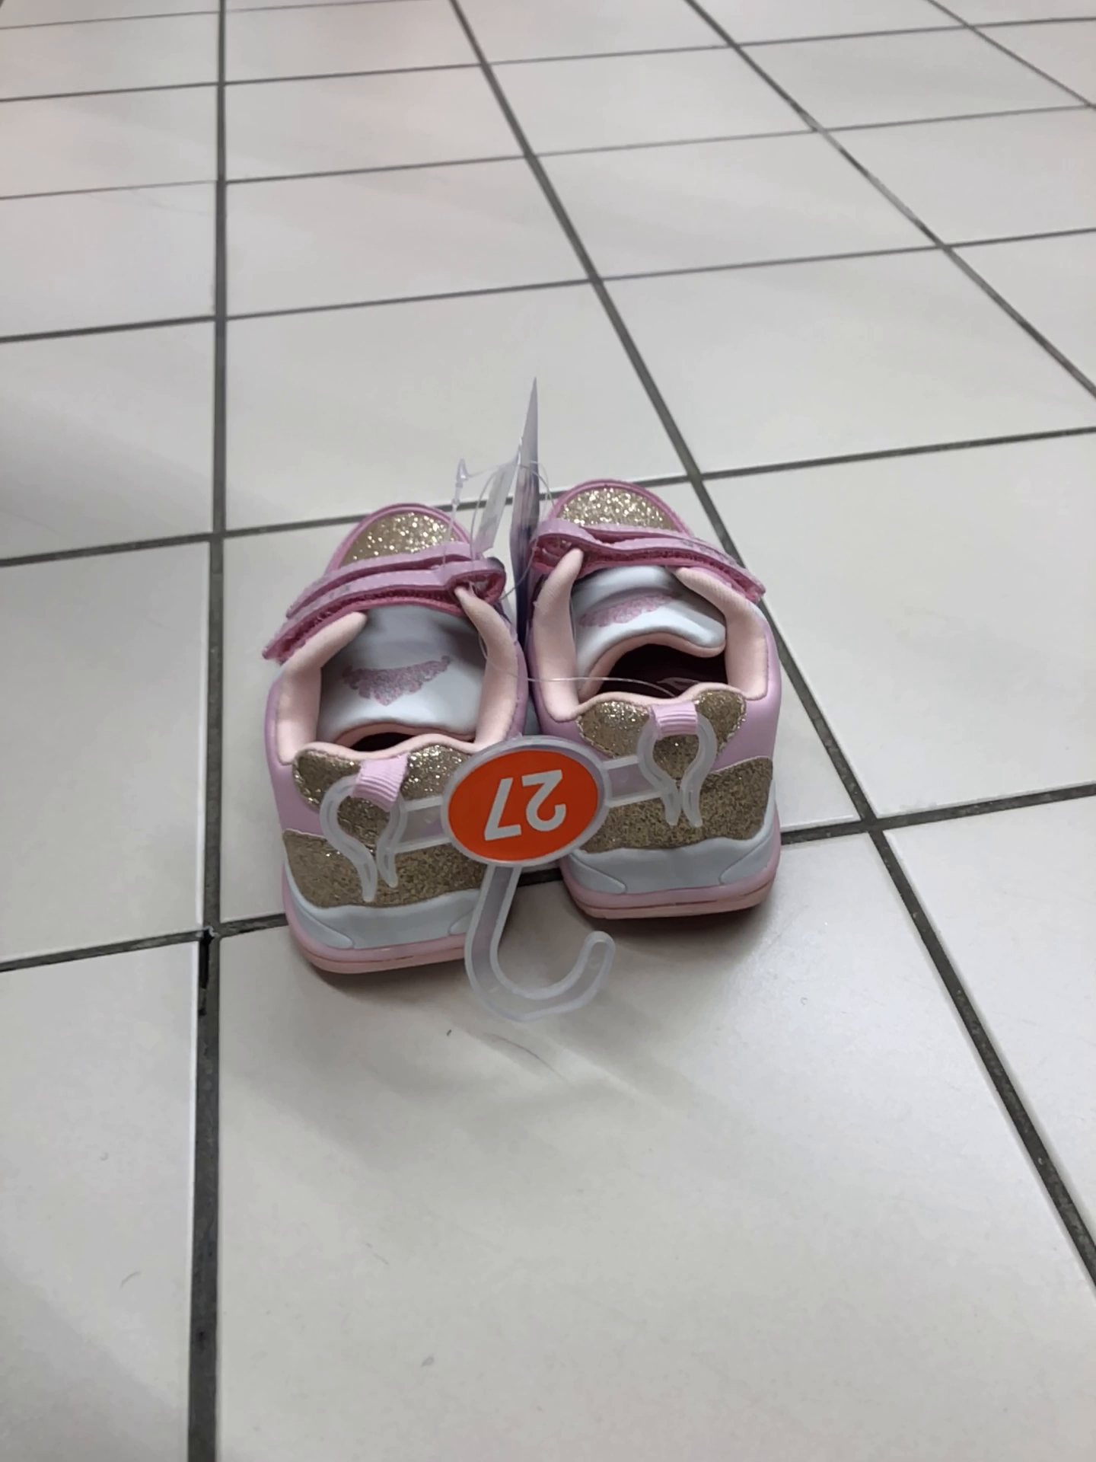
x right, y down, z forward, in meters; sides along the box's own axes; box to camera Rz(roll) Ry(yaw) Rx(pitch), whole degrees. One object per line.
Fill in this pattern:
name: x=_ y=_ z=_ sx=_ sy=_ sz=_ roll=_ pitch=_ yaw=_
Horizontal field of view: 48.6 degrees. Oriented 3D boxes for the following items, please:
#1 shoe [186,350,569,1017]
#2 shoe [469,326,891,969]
shoe: x=-0.048 y=-0.026 z=0.366 sx=0.083 sy=0.087 sz=0.196 roll=-5 pitch=44 yaw=-4
shoe: x=0.027 y=-0.037 z=0.375 sx=0.083 sy=0.087 sz=0.196 roll=-5 pitch=44 yaw=-4
